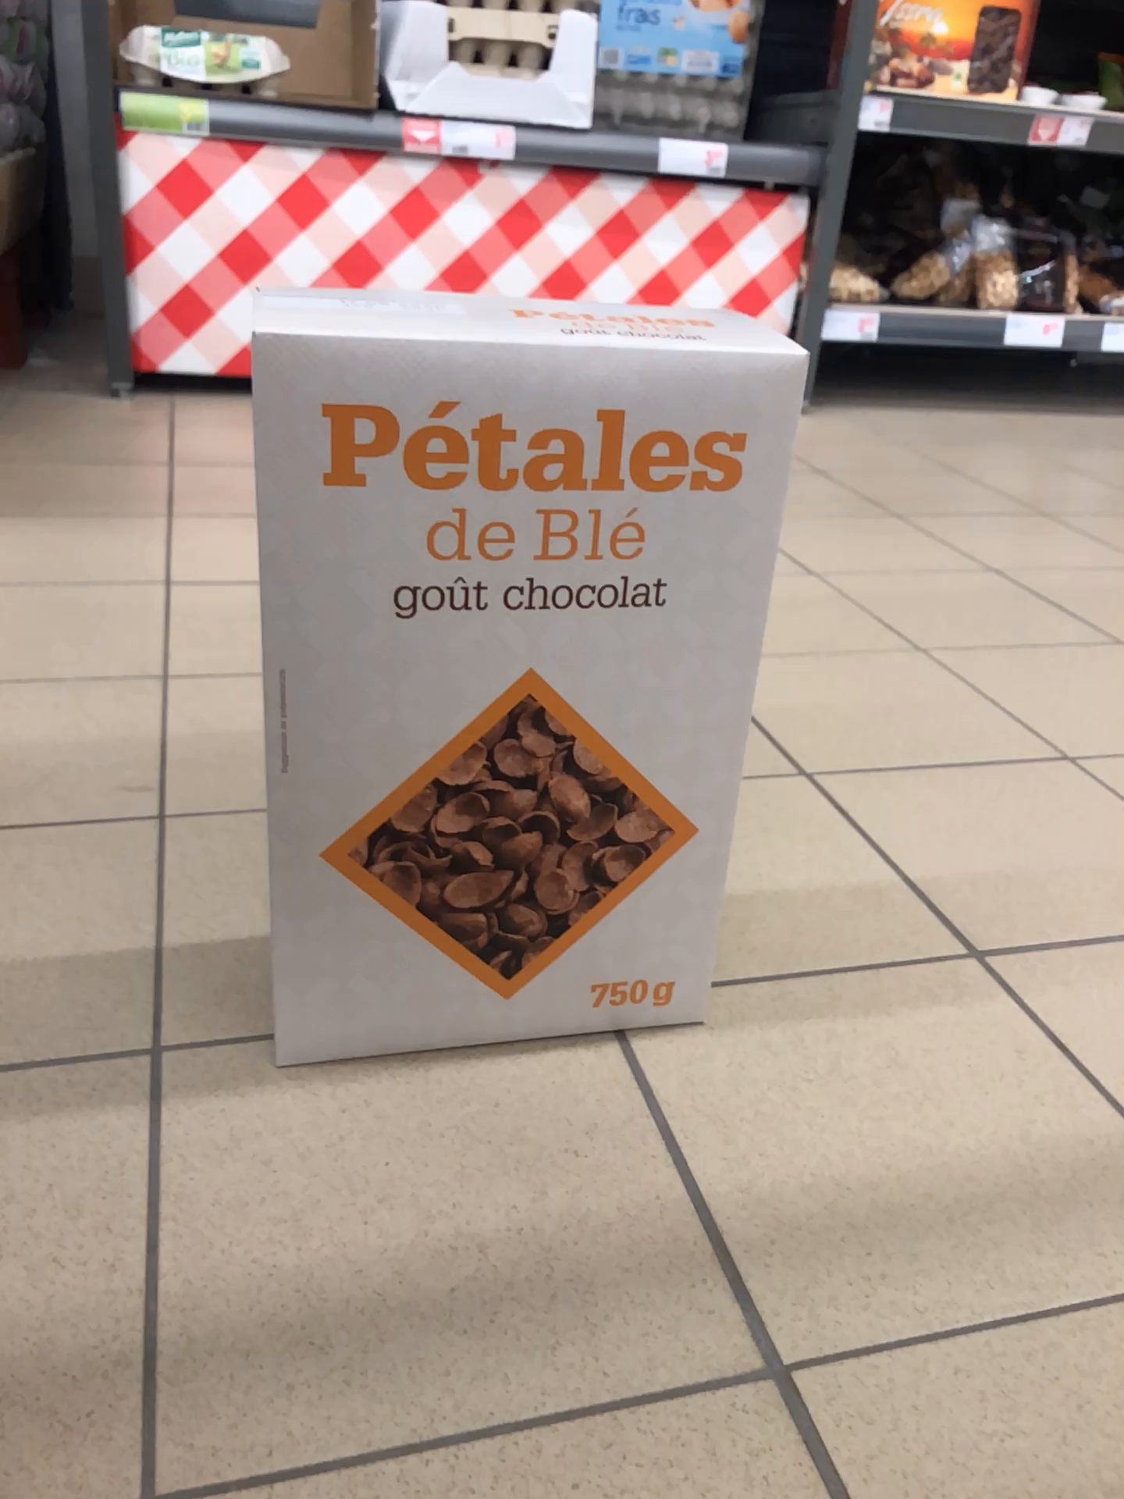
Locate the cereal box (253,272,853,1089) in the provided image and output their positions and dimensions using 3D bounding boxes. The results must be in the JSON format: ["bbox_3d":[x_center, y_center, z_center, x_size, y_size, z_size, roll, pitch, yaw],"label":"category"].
[{"bbox_3d":[-0.019,-0.023,0.488,0.190,0.288,0.100,-2,26,-14],"label":"cereal box"}]
